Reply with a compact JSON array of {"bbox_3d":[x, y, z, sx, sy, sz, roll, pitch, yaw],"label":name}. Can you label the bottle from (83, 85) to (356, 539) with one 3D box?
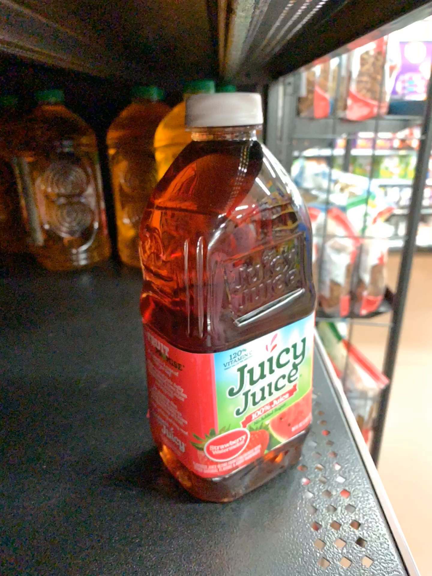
[{"bbox_3d":[0.005,0.007,0.301,0.125,0.255,0.090,-17,26,-35],"label":"bottle"}]
